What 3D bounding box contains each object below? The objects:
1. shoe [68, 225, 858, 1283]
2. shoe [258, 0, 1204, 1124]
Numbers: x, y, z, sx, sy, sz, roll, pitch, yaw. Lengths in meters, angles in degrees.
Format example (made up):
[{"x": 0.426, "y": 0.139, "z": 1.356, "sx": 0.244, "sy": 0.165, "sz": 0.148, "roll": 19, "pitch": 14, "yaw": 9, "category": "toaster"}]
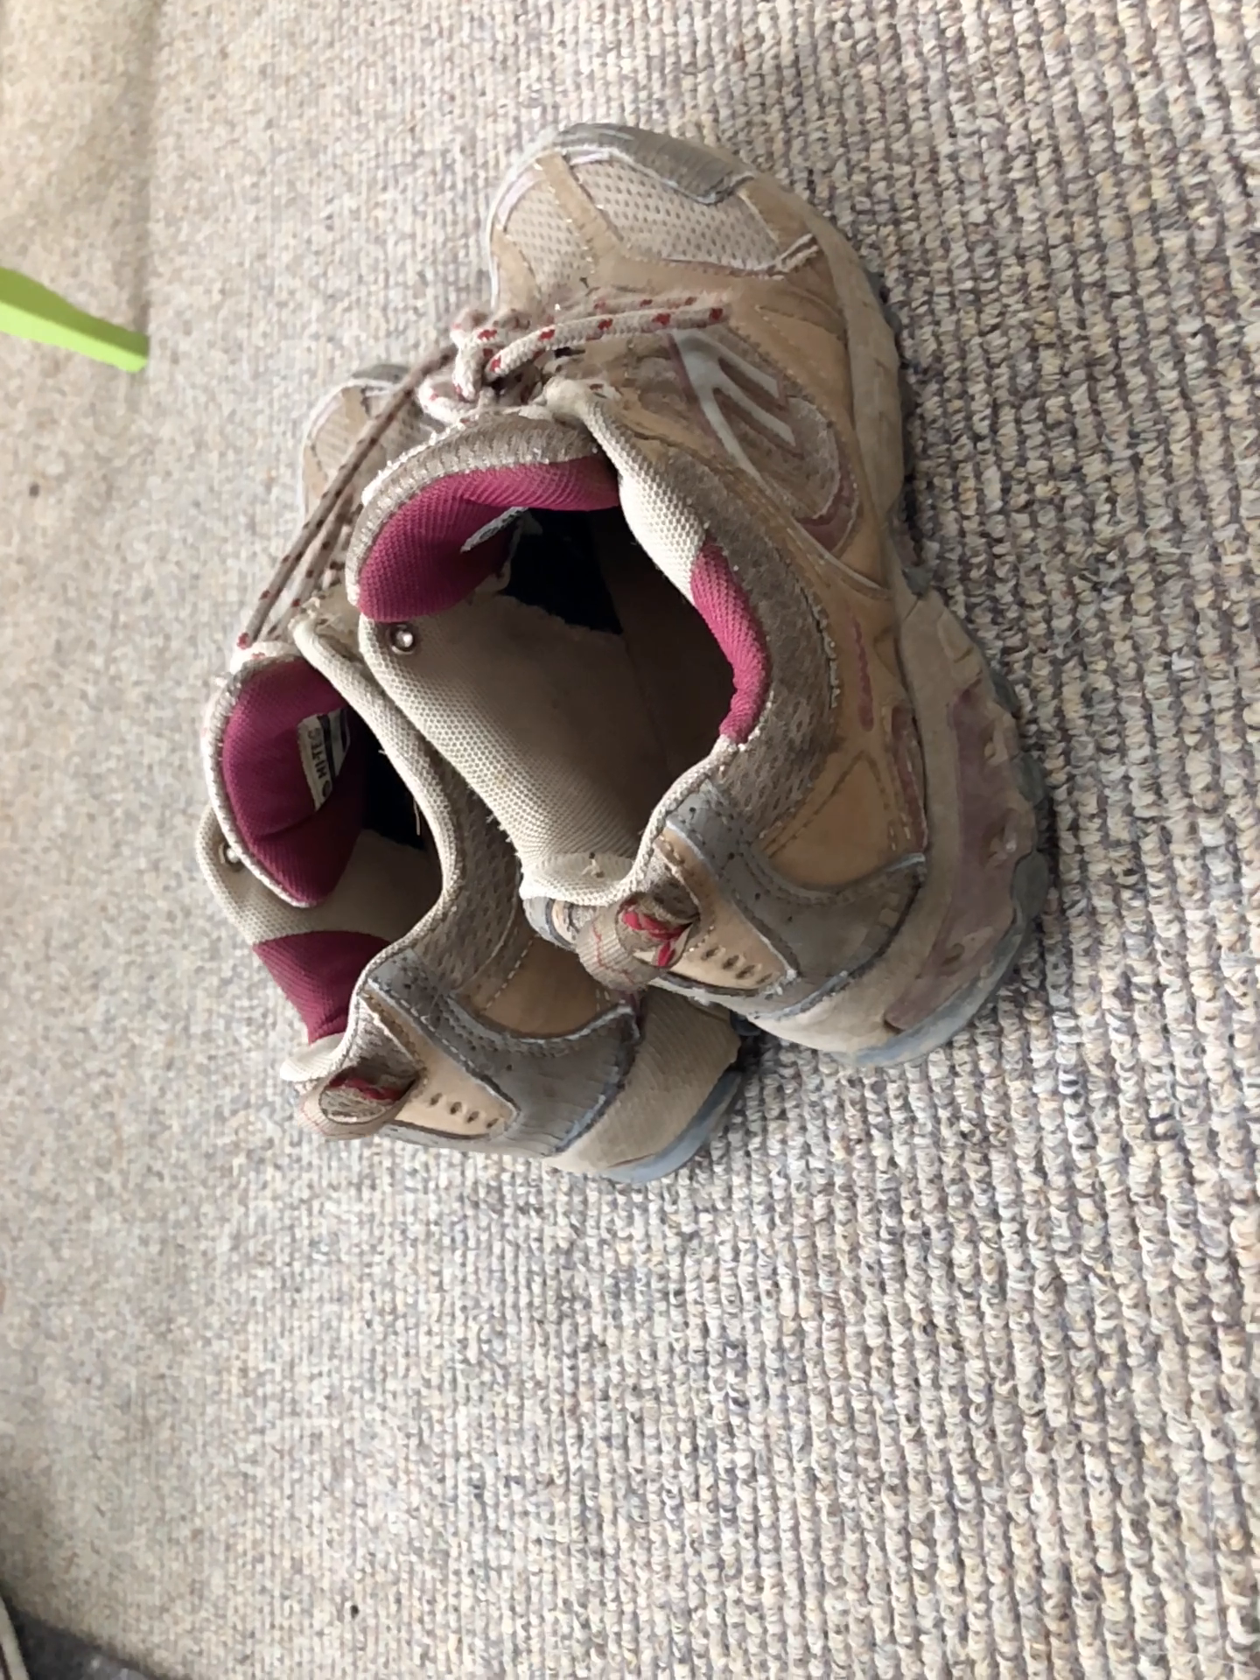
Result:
[{"x": -0.064, "y": -0.029, "z": 0.404, "sx": 0.110, "sy": 0.119, "sz": 0.271, "roll": -43, "pitch": 53, "yaw": 31, "category": "shoe"}, {"x": 0.008, "y": -0.080, "z": 0.345, "sx": 0.112, "sy": 0.123, "sz": 0.272, "roll": -35, "pitch": 58, "yaw": 36, "category": "shoe"}]
